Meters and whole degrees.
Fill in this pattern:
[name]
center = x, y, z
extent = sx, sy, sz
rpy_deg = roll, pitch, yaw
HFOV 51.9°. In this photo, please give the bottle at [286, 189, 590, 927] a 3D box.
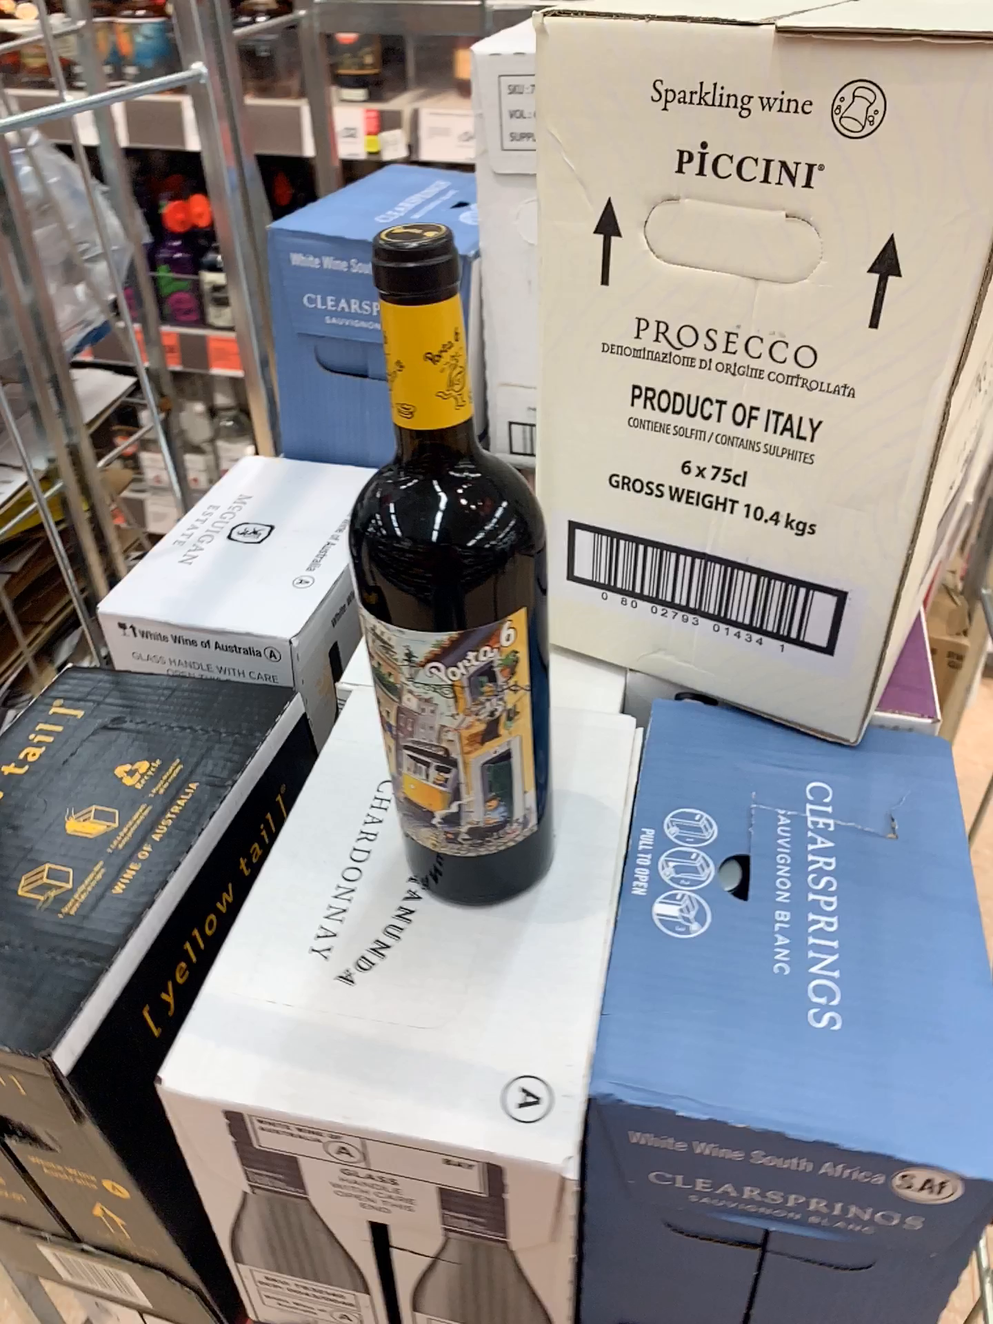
[bottle]
center = -0.014, -0.025, 0.420
extent = 0.078, 0.295, 0.077
rpy_deg = -1, 37, 0
